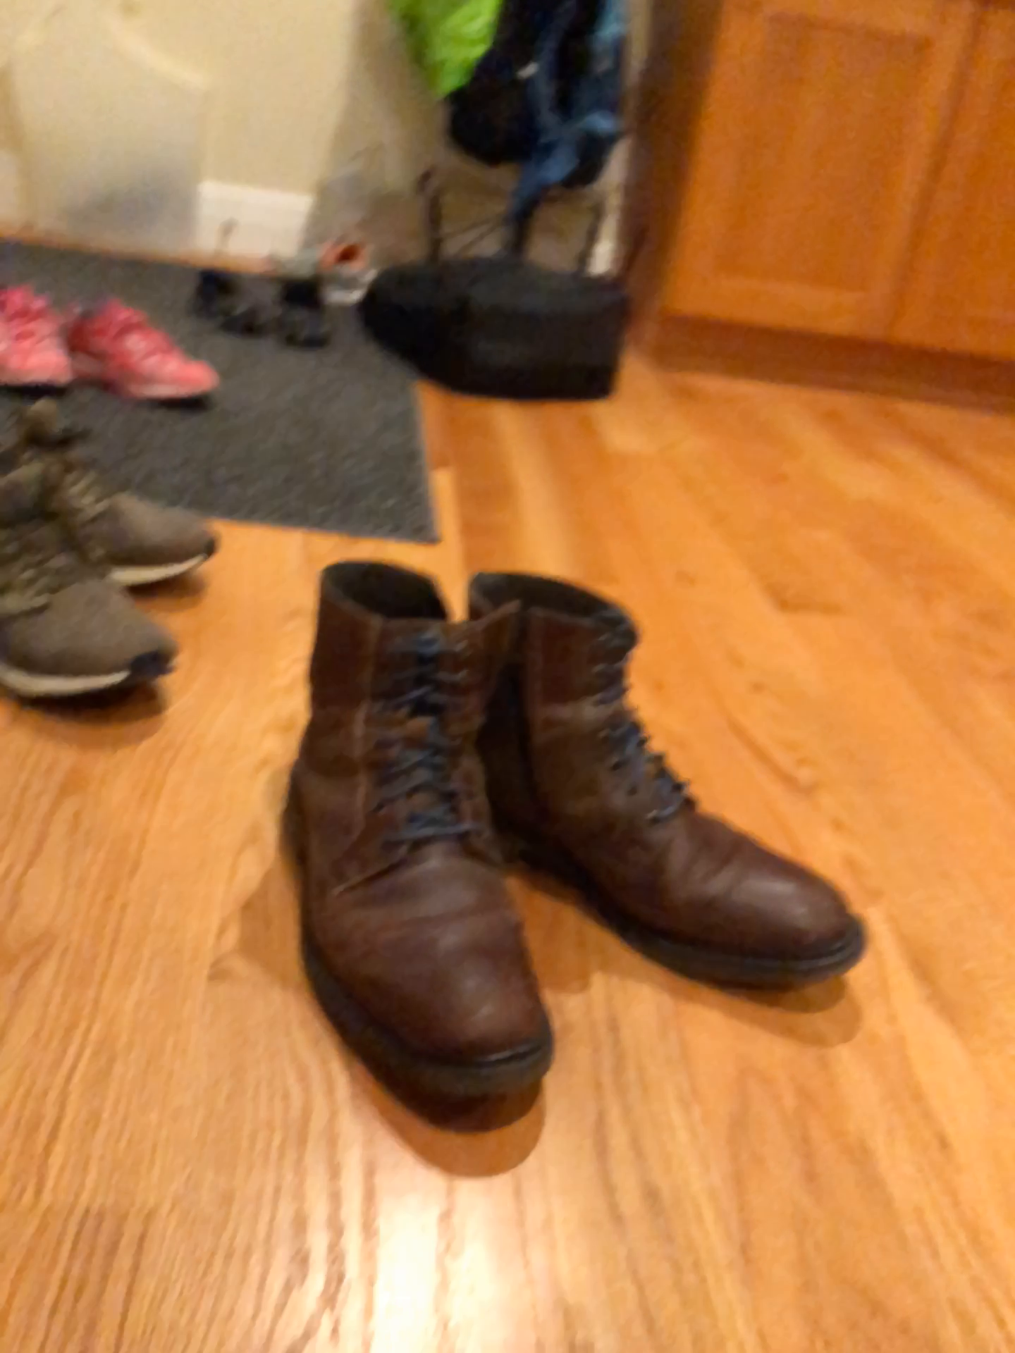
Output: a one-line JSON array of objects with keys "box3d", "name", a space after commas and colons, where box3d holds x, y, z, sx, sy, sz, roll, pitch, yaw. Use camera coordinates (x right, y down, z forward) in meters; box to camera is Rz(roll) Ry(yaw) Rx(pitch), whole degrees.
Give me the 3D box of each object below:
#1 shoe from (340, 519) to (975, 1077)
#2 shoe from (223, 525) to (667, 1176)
[{"box3d": [0.072, 0.051, 0.639, 0.303, 0.176, 0.129, 22, 29, 23], "name": "shoe"}, {"box3d": [-0.059, 0.058, 0.581, 0.113, 0.167, 0.311, -4, 30, -24], "name": "shoe"}]
